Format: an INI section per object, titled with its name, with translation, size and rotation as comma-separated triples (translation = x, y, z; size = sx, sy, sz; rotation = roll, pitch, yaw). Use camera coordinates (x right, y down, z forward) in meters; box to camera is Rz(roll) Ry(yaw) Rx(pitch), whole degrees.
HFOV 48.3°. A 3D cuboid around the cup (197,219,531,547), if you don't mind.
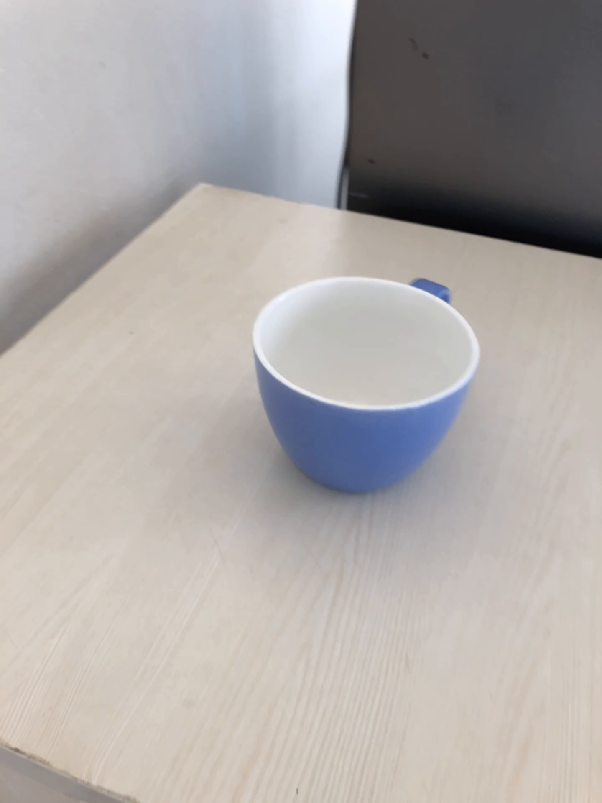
[cup]
translation = 0.037, -0.020, 0.347
size = 0.100, 0.070, 0.151
rotation = 24, 46, 24
